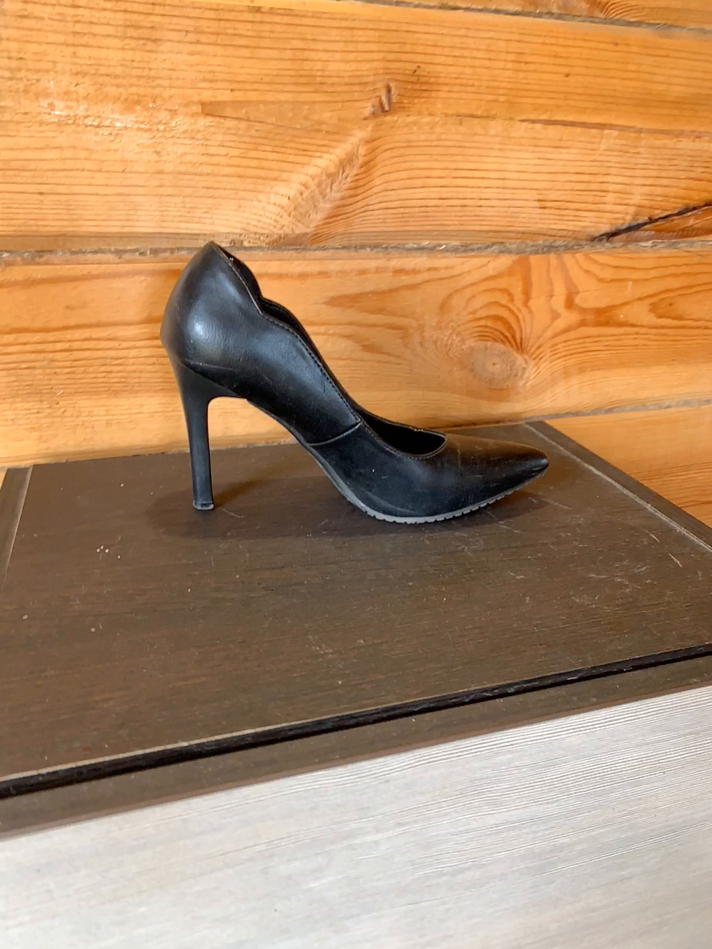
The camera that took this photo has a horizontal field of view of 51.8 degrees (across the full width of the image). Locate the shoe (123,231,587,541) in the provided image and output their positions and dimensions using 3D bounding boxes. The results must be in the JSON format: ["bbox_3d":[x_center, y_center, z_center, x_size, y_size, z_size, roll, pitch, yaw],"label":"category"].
[{"bbox_3d":[-0.004,-0.055,0.419,0.220,0.149,0.101,-1,22,-6],"label":"shoe"}]
